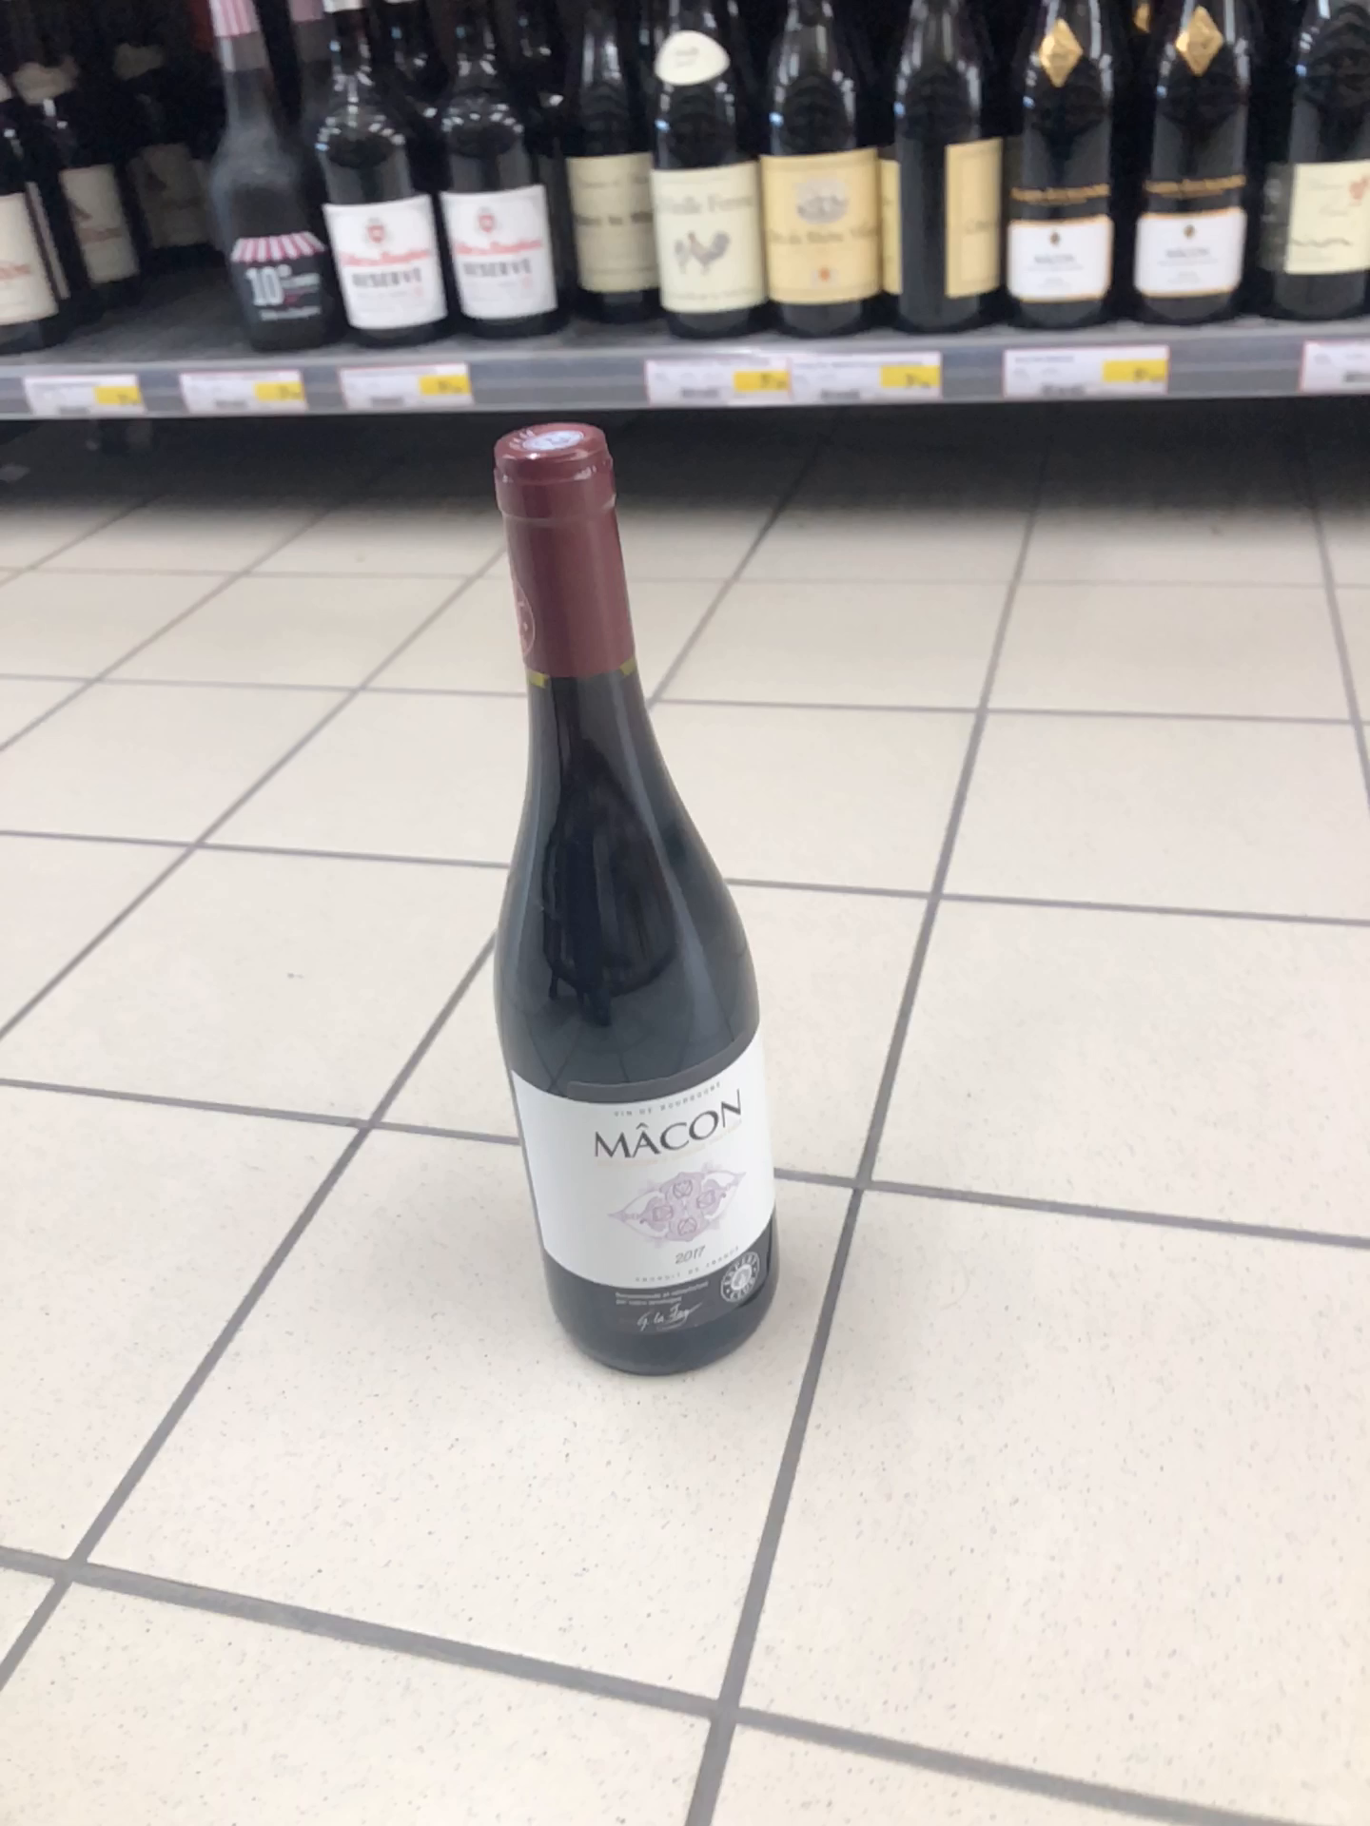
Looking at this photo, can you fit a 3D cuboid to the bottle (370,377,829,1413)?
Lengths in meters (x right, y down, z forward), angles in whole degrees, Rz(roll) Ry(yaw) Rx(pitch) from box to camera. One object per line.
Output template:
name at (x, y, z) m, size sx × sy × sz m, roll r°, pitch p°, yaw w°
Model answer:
bottle at (-0.019, 0.005, 0.449) m, size 0.090 × 0.288 × 0.090 m, roll -4°, pitch 31°, yaw 3°
